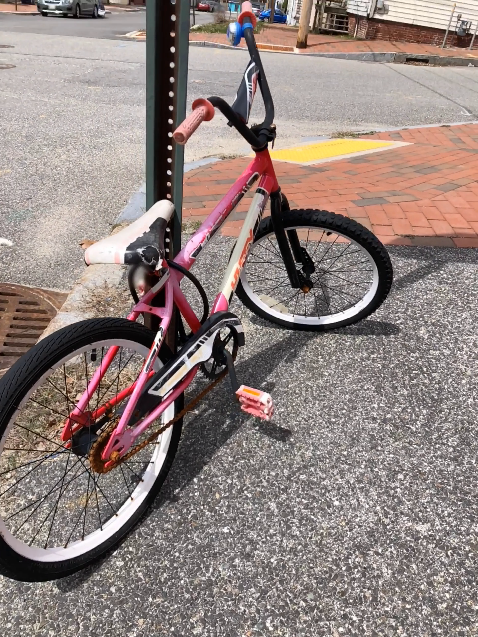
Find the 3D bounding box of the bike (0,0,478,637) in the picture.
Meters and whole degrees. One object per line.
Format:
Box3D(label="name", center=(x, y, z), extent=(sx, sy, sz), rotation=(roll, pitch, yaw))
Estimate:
Box3D(label="bike", center=(0.004, -0.129, 1.039), extent=(0.696, 0.887, 1.183), rotation=(29, 40, 29))
